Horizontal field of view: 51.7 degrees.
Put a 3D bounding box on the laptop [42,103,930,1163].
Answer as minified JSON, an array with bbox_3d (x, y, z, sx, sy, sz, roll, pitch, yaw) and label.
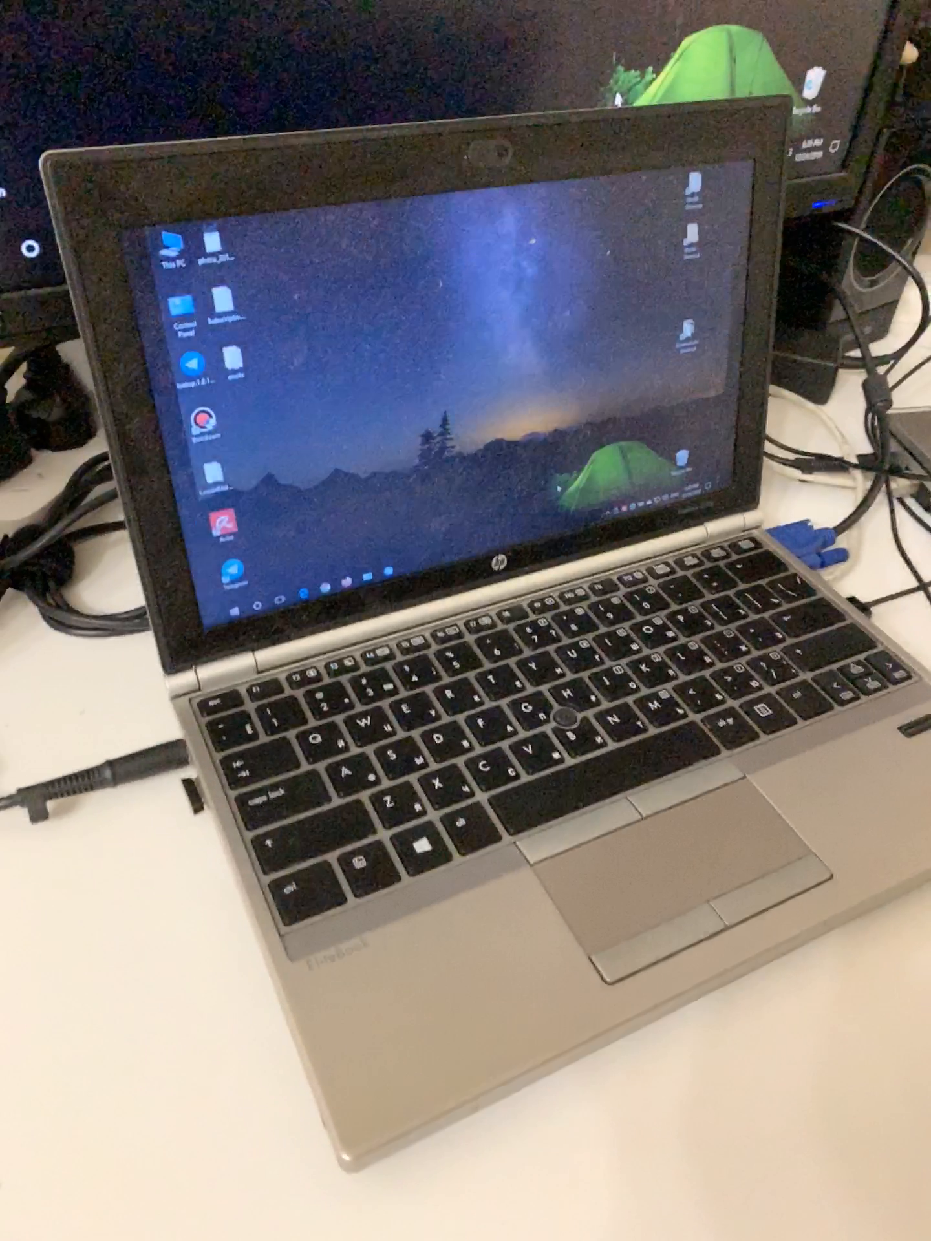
[{"bbox_3d":[0.050,-0.035,0.313,0.284,0.176,0.227,-16,45,-22],"label":"laptop"}]
